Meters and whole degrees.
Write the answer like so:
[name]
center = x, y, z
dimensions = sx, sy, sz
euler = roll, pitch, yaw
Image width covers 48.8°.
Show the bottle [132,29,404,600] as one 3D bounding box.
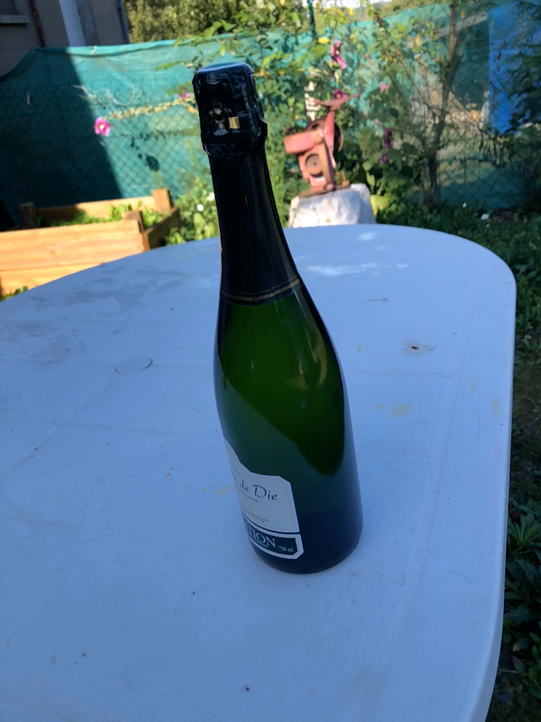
[bottle]
center = 0.009, -0.016, 0.361
dimensions = 0.100, 0.308, 0.090
euler = -17, 28, -17
